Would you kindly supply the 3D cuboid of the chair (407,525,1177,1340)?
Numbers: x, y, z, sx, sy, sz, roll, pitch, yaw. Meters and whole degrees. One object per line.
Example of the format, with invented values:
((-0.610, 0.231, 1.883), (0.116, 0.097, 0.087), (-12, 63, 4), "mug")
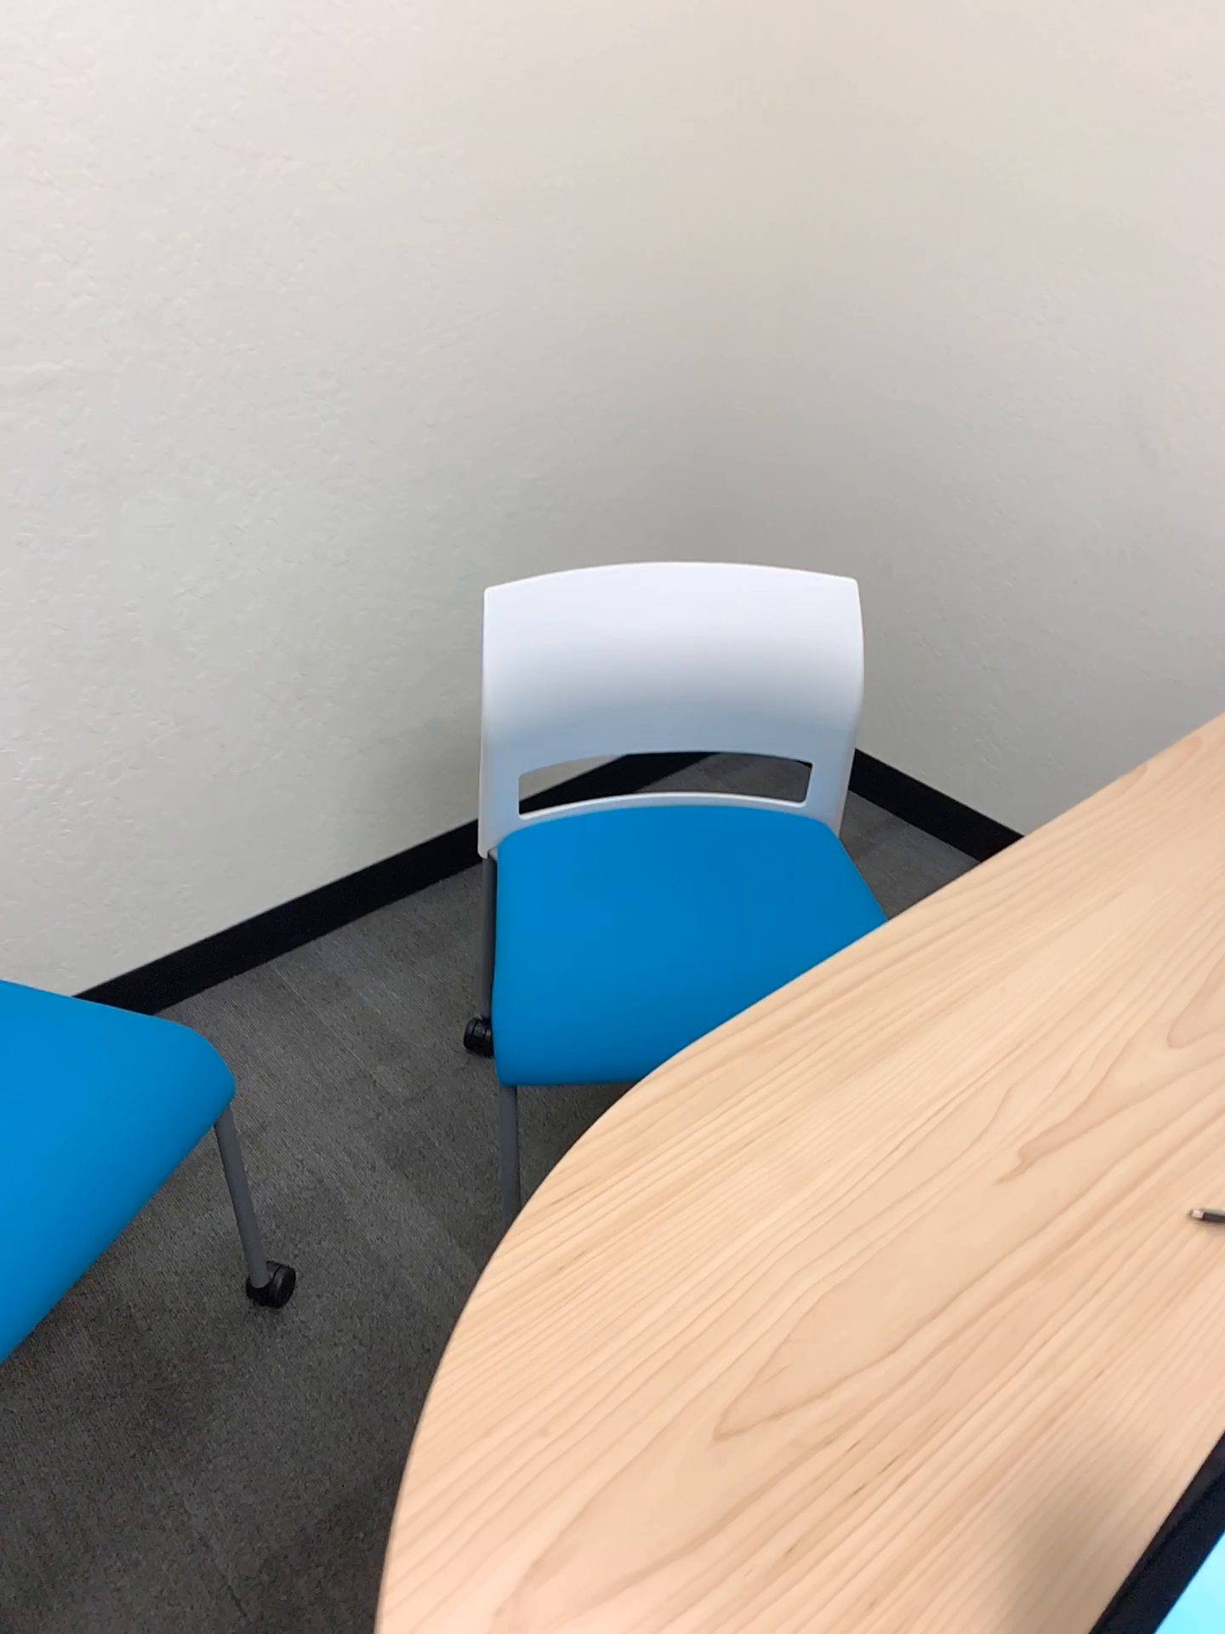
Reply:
((0.135, 0.118, 1.688), (0.750, 0.765, 0.694), (-4, 34, -7), "chair")

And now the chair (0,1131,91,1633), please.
((-0.858, 0.731, 0.683), (0.691, 0.716, 0.643), (9, 35, 13), "chair")

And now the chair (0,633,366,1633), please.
((-0.761, 0.349, 1.278), (0.691, 0.755, 0.643), (14, 36, 20), "chair")
